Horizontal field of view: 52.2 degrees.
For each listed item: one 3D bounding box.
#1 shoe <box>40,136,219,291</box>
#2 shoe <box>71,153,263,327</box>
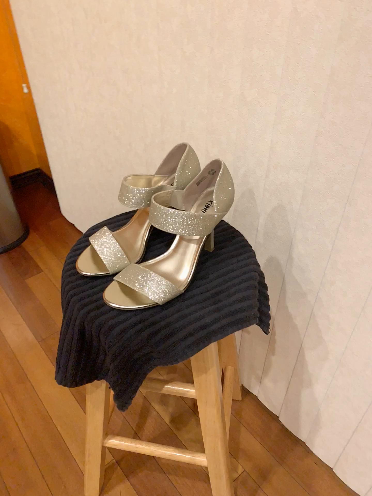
[{"bbox_3d":[-0.072,-0.061,0.572,0.236,0.129,0.095,-28,46,-30],"label":"shoe"},{"bbox_3d":[-0.016,-0.021,0.520,0.237,0.129,0.090,-28,46,-30],"label":"shoe"}]
